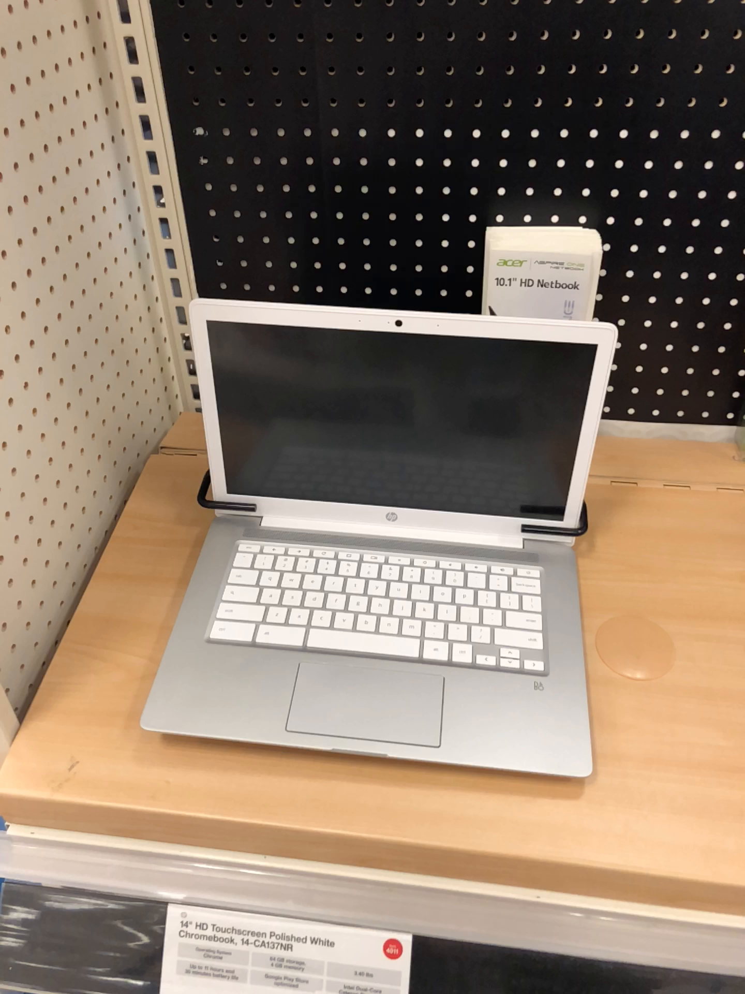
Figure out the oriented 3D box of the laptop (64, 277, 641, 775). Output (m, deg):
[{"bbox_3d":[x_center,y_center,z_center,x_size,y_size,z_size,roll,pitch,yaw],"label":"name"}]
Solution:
[{"bbox_3d":[0.002,0.008,0.627,0.333,0.198,0.281,3,43,4],"label":"laptop"}]
